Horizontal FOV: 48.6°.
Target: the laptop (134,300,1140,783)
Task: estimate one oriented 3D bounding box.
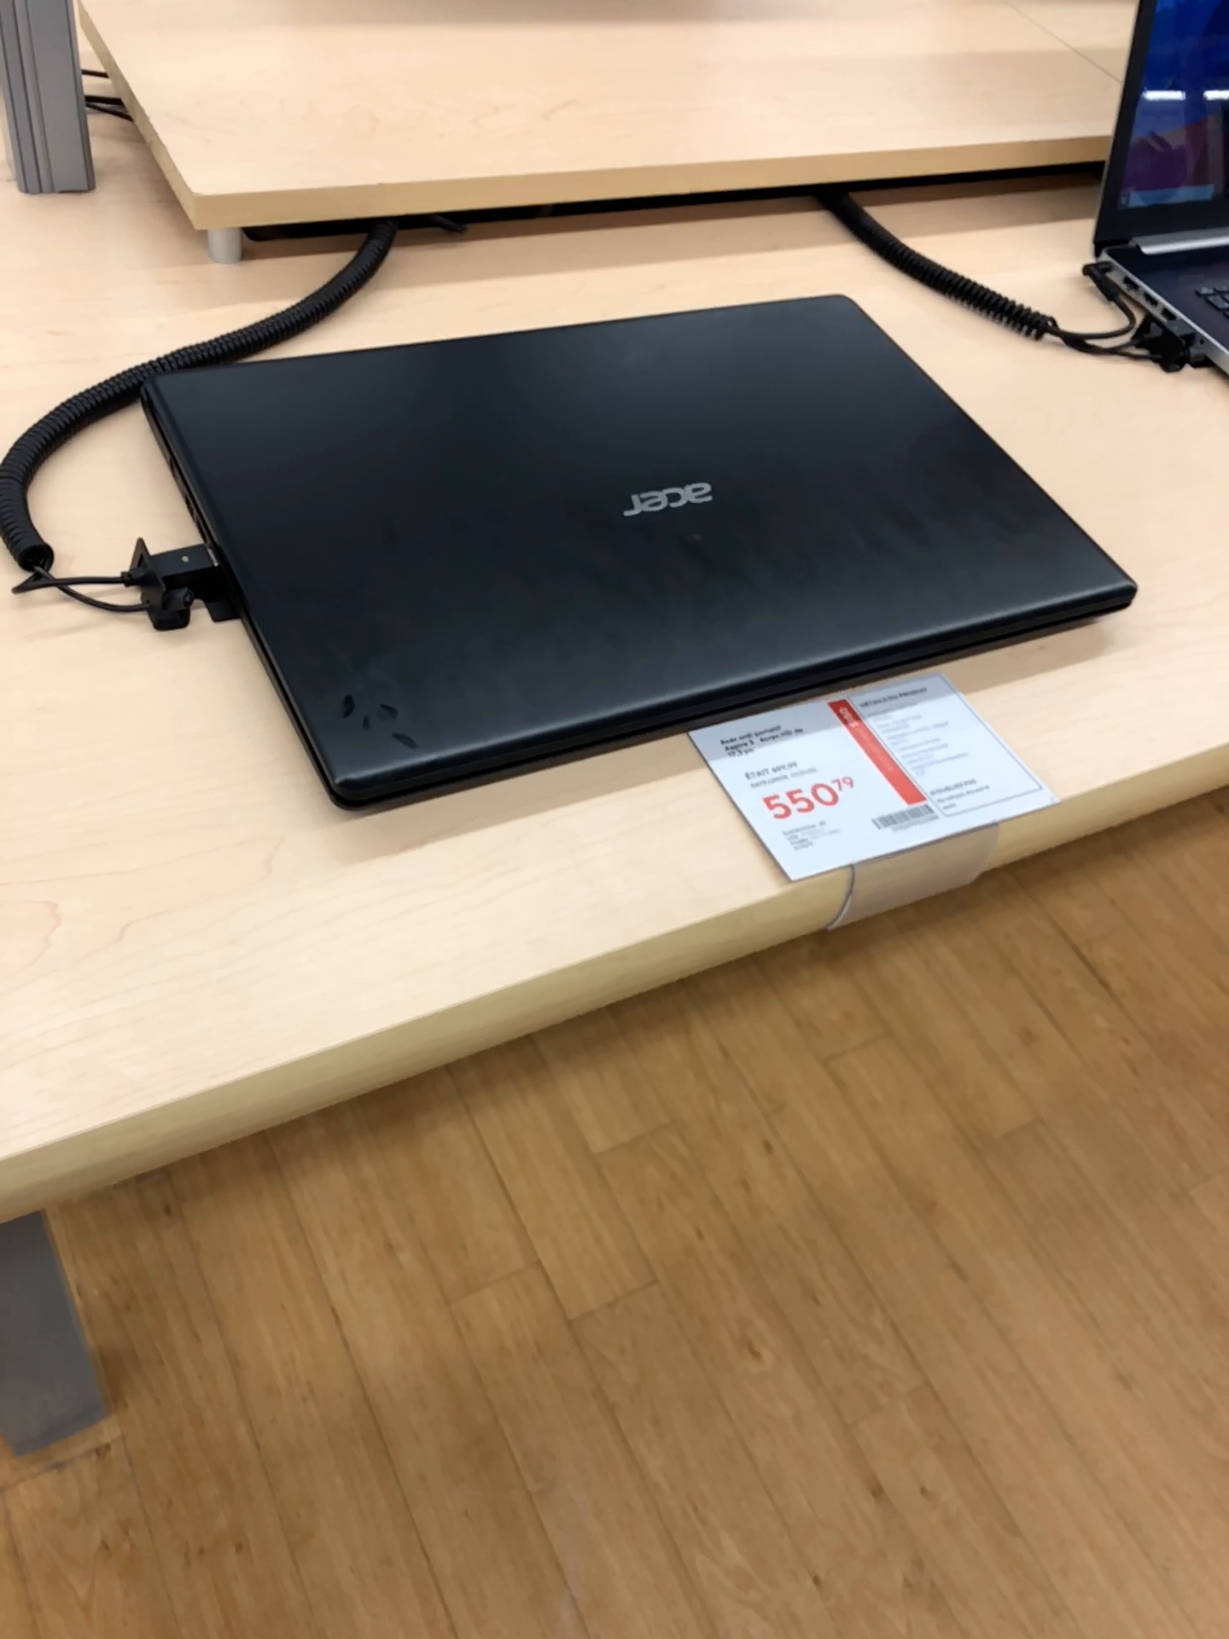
[{"bbox_3d":[0.017,-0.162,0.663,0.417,0.001,0.267,-16,56,-24],"label":"laptop"}]
